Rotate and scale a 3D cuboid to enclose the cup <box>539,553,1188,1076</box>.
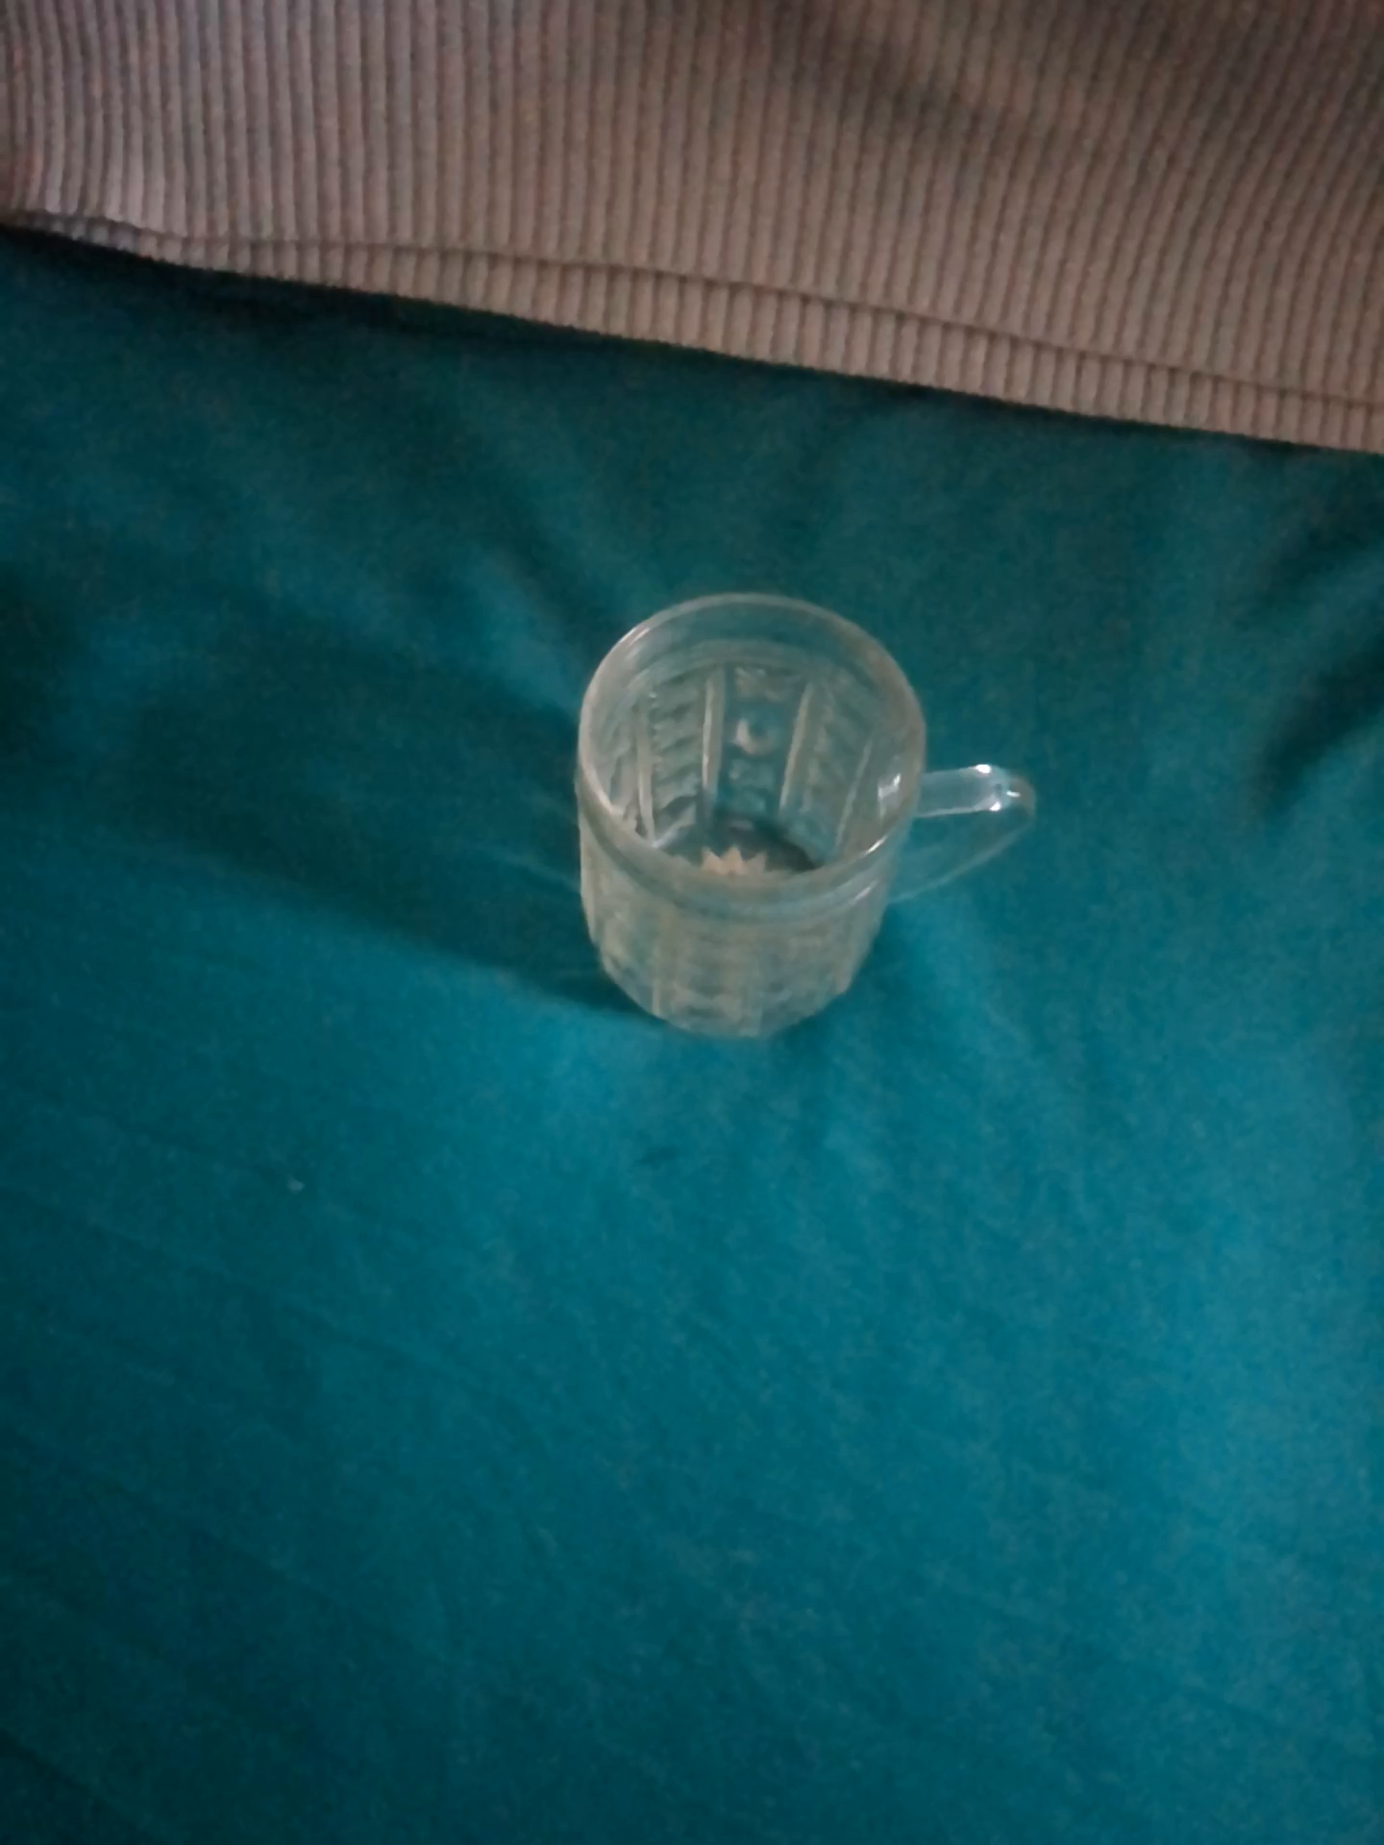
[{"bbox_3d":[0.027,-0.019,0.308,0.104,0.076,0.064,-9,70,-7],"label":"cup"}]
